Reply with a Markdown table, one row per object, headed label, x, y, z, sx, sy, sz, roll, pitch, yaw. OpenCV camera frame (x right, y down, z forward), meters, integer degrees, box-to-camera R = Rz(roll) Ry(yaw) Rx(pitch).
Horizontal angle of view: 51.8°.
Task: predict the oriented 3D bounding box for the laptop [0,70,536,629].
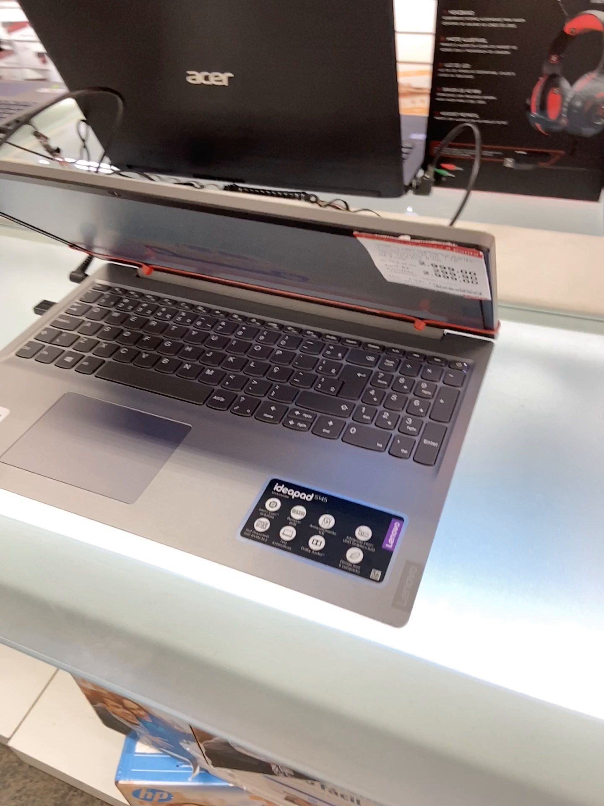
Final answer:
| label | x | y | z | sx | sy | sz | roll | pitch | yaw |
| --- | --- | --- | --- | --- | --- | --- | --- | --- | --- |
| laptop | -0.073 | -0.072 | 0.394 | 0.361 | 0.167 | 0.247 | 14 | 45 | 19 |
